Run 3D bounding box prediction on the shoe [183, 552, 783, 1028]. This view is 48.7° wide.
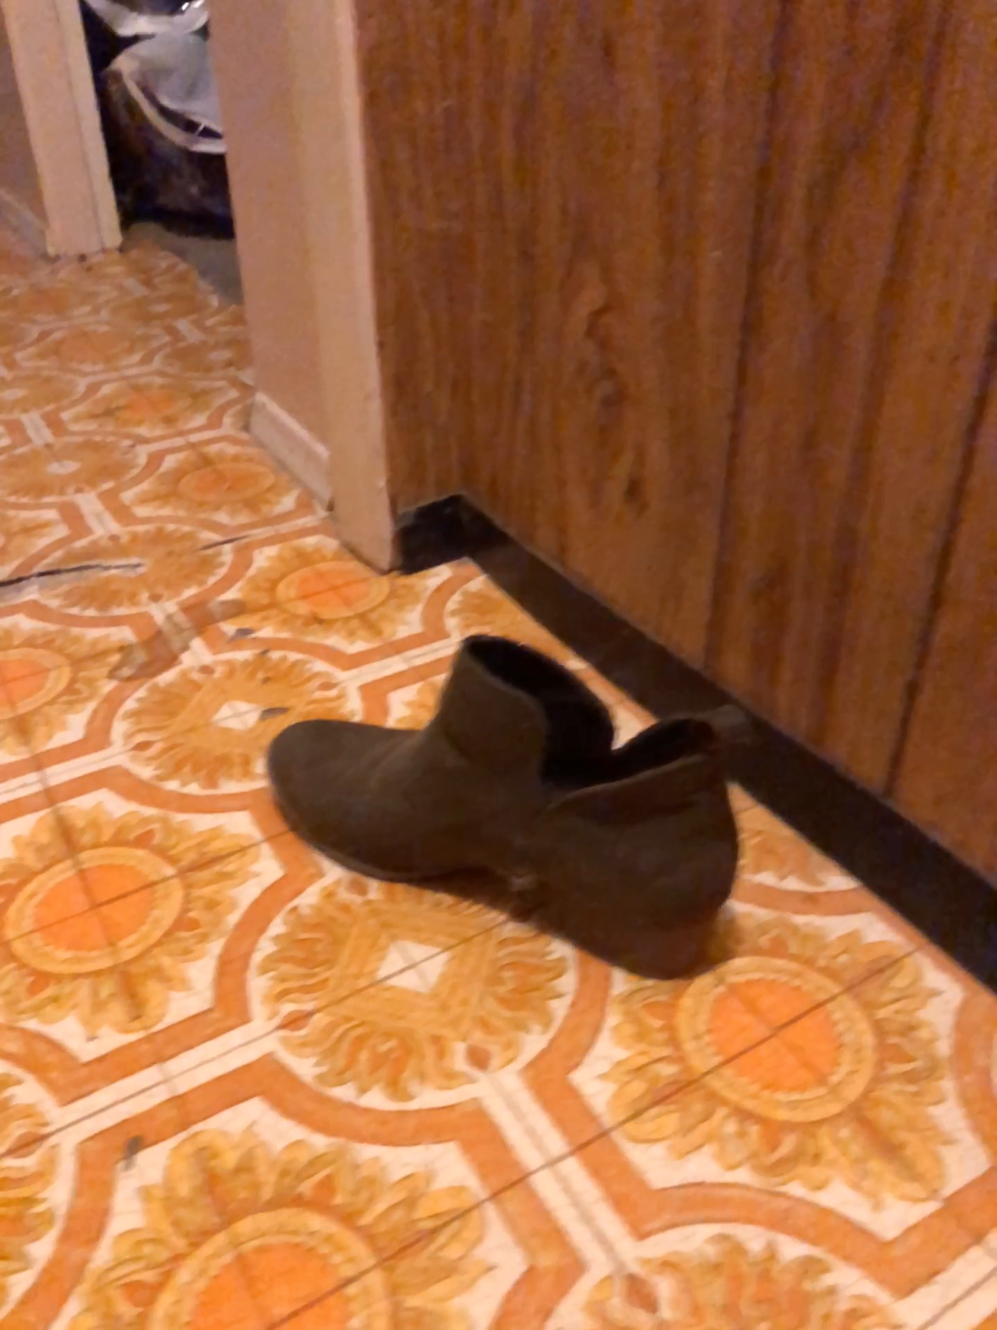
[{"bbox_3d":[-0.013,0.049,0.523,0.260,0.130,0.080,17,37,24],"label":"shoe"}]
